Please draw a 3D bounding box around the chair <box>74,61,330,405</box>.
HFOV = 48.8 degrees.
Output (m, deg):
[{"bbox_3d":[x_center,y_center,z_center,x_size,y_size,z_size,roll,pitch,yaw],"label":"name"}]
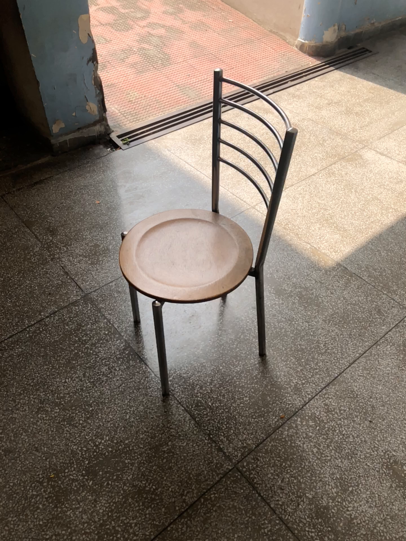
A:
[{"bbox_3d":[-0.023,-0.075,1.246,0.420,0.777,0.421,-18,47,-17],"label":"chair"}]
